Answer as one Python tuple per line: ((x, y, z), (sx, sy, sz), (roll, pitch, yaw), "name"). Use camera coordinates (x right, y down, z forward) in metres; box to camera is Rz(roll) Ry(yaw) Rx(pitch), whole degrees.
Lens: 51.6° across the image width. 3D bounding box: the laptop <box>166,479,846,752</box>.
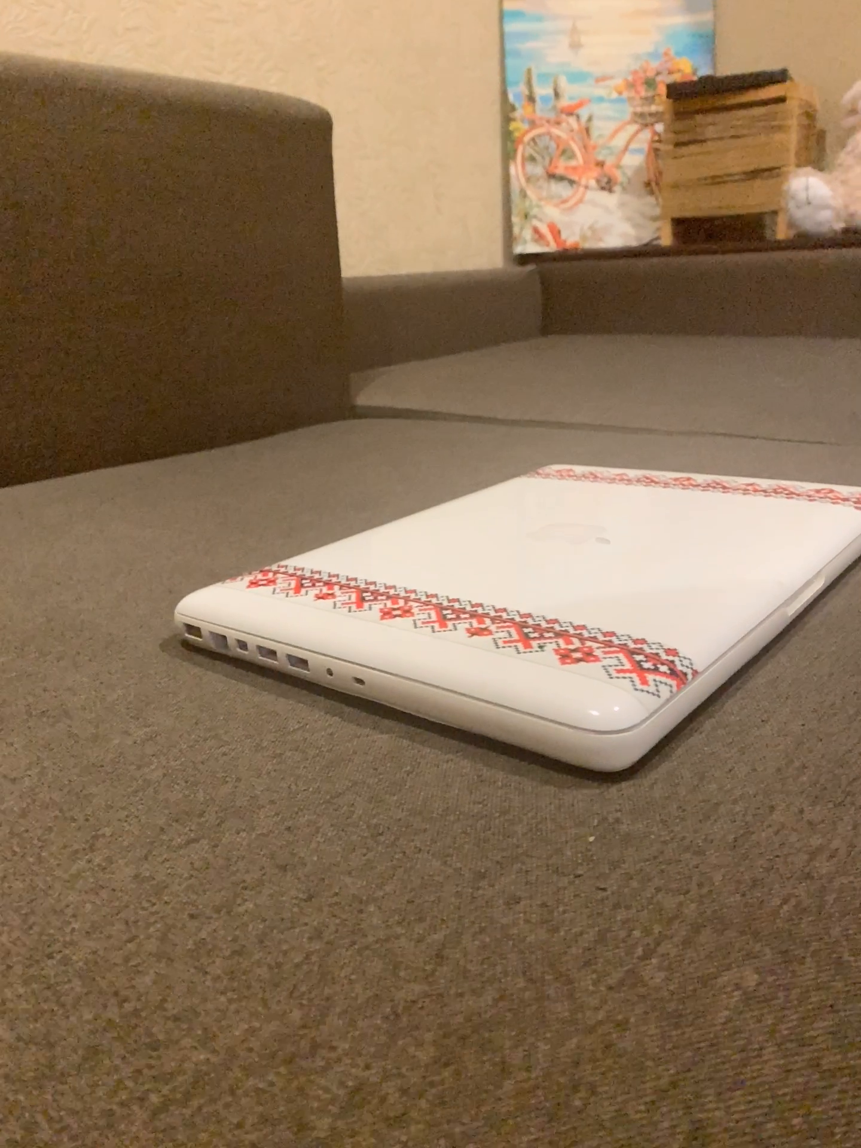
((0.061, -0.007, 0.469), (0.222, 0.003, 0.325), (11, 22, 36), "laptop")
